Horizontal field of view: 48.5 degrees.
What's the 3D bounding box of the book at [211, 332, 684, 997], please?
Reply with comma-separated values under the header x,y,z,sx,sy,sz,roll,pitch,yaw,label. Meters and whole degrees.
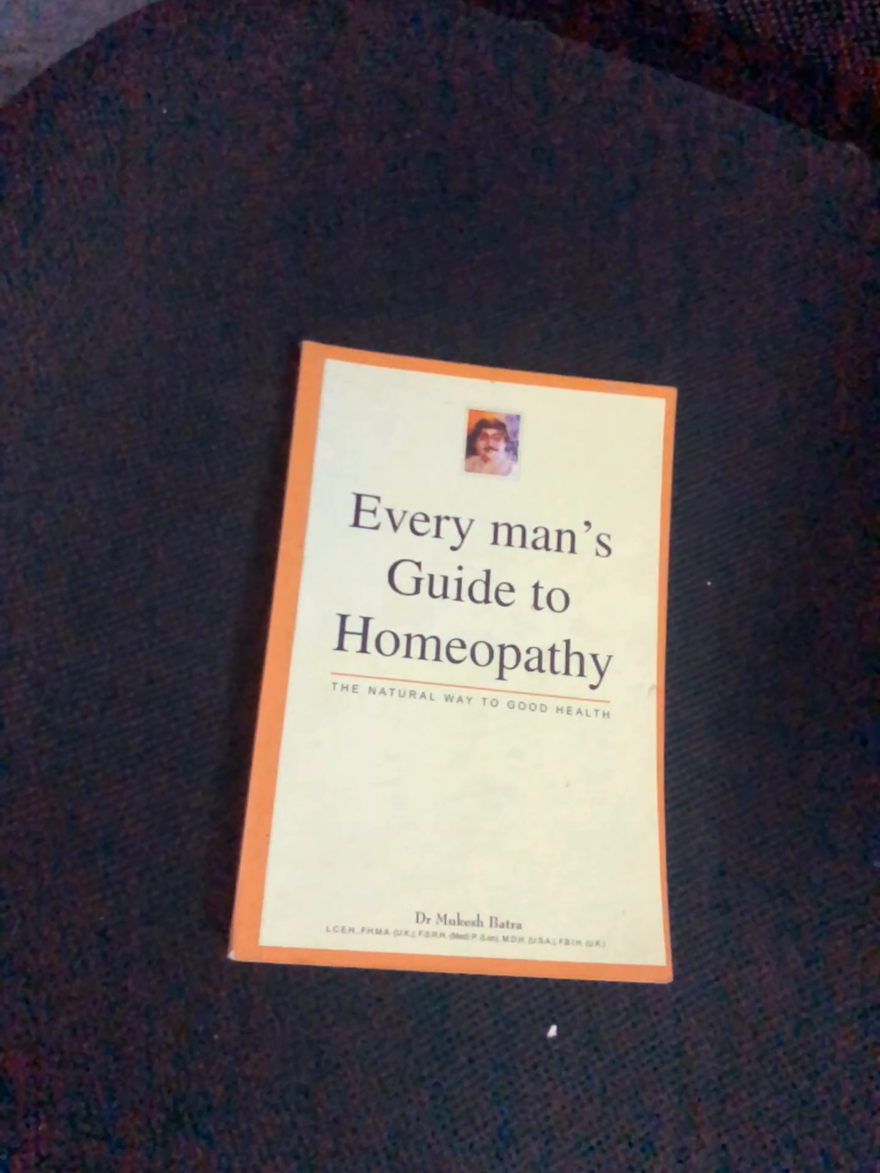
x,y,z,sx,sy,sz,roll,pitch,yaw,label
0.010,0.021,0.331,0.140,0.026,0.207,6,73,-6,book
